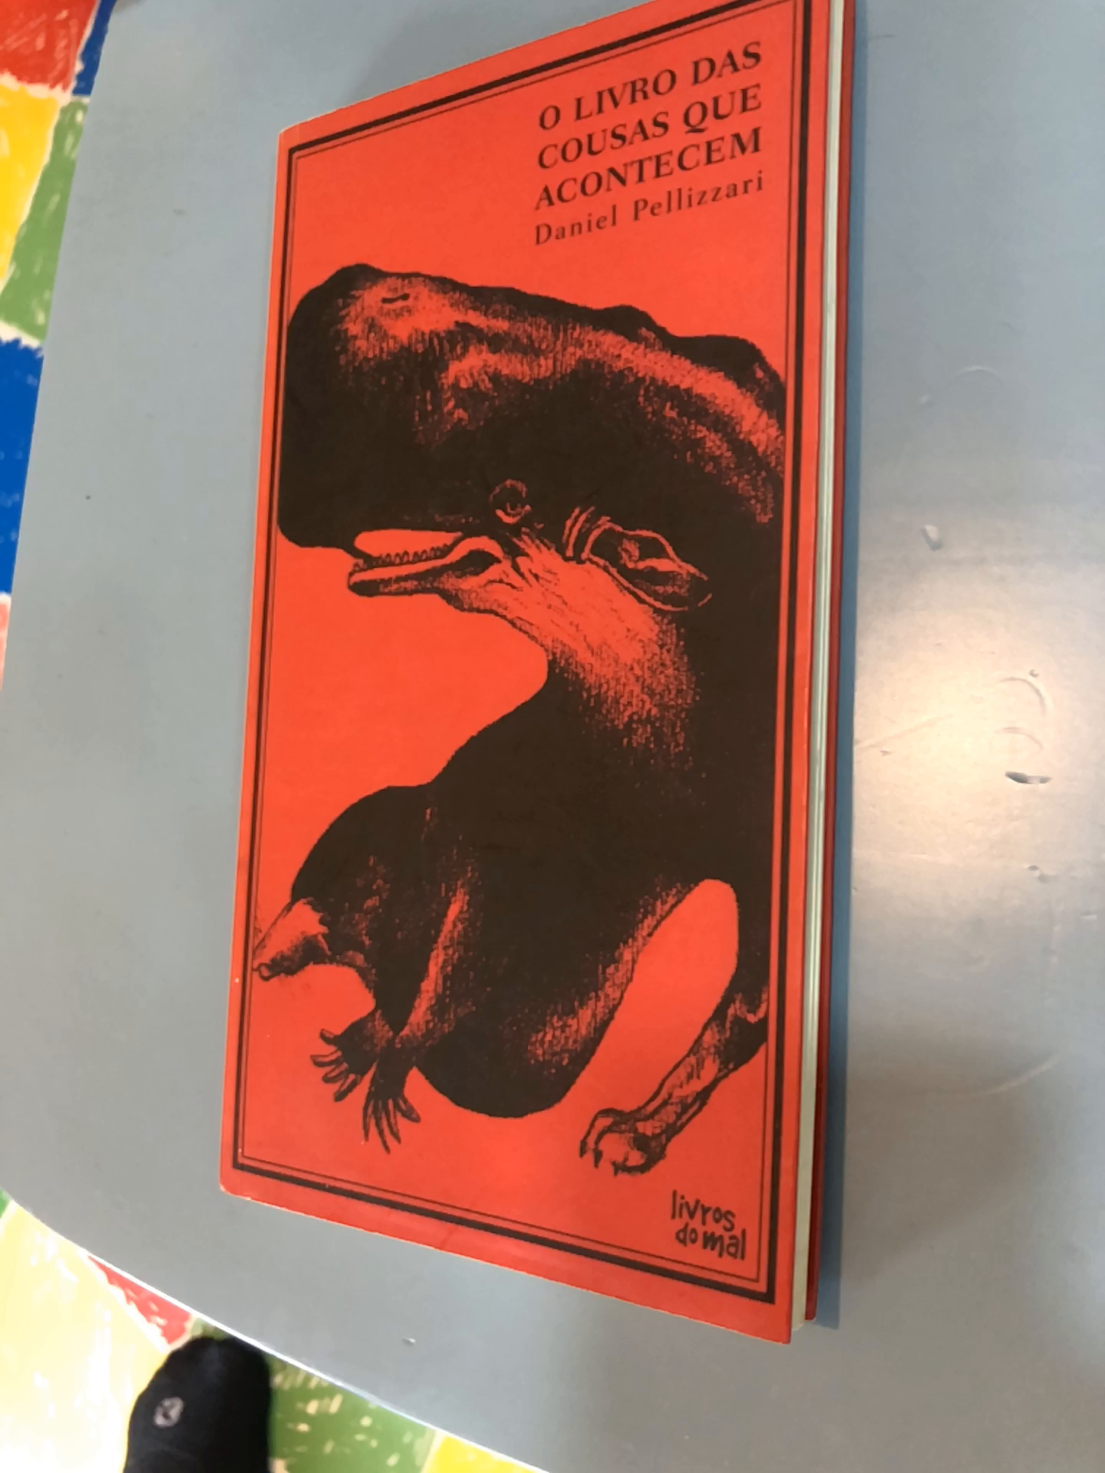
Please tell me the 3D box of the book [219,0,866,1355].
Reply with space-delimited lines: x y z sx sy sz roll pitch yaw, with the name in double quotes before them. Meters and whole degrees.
"book" -0.006 -0.015 0.210 0.110 0.016 0.200 0 85 32
